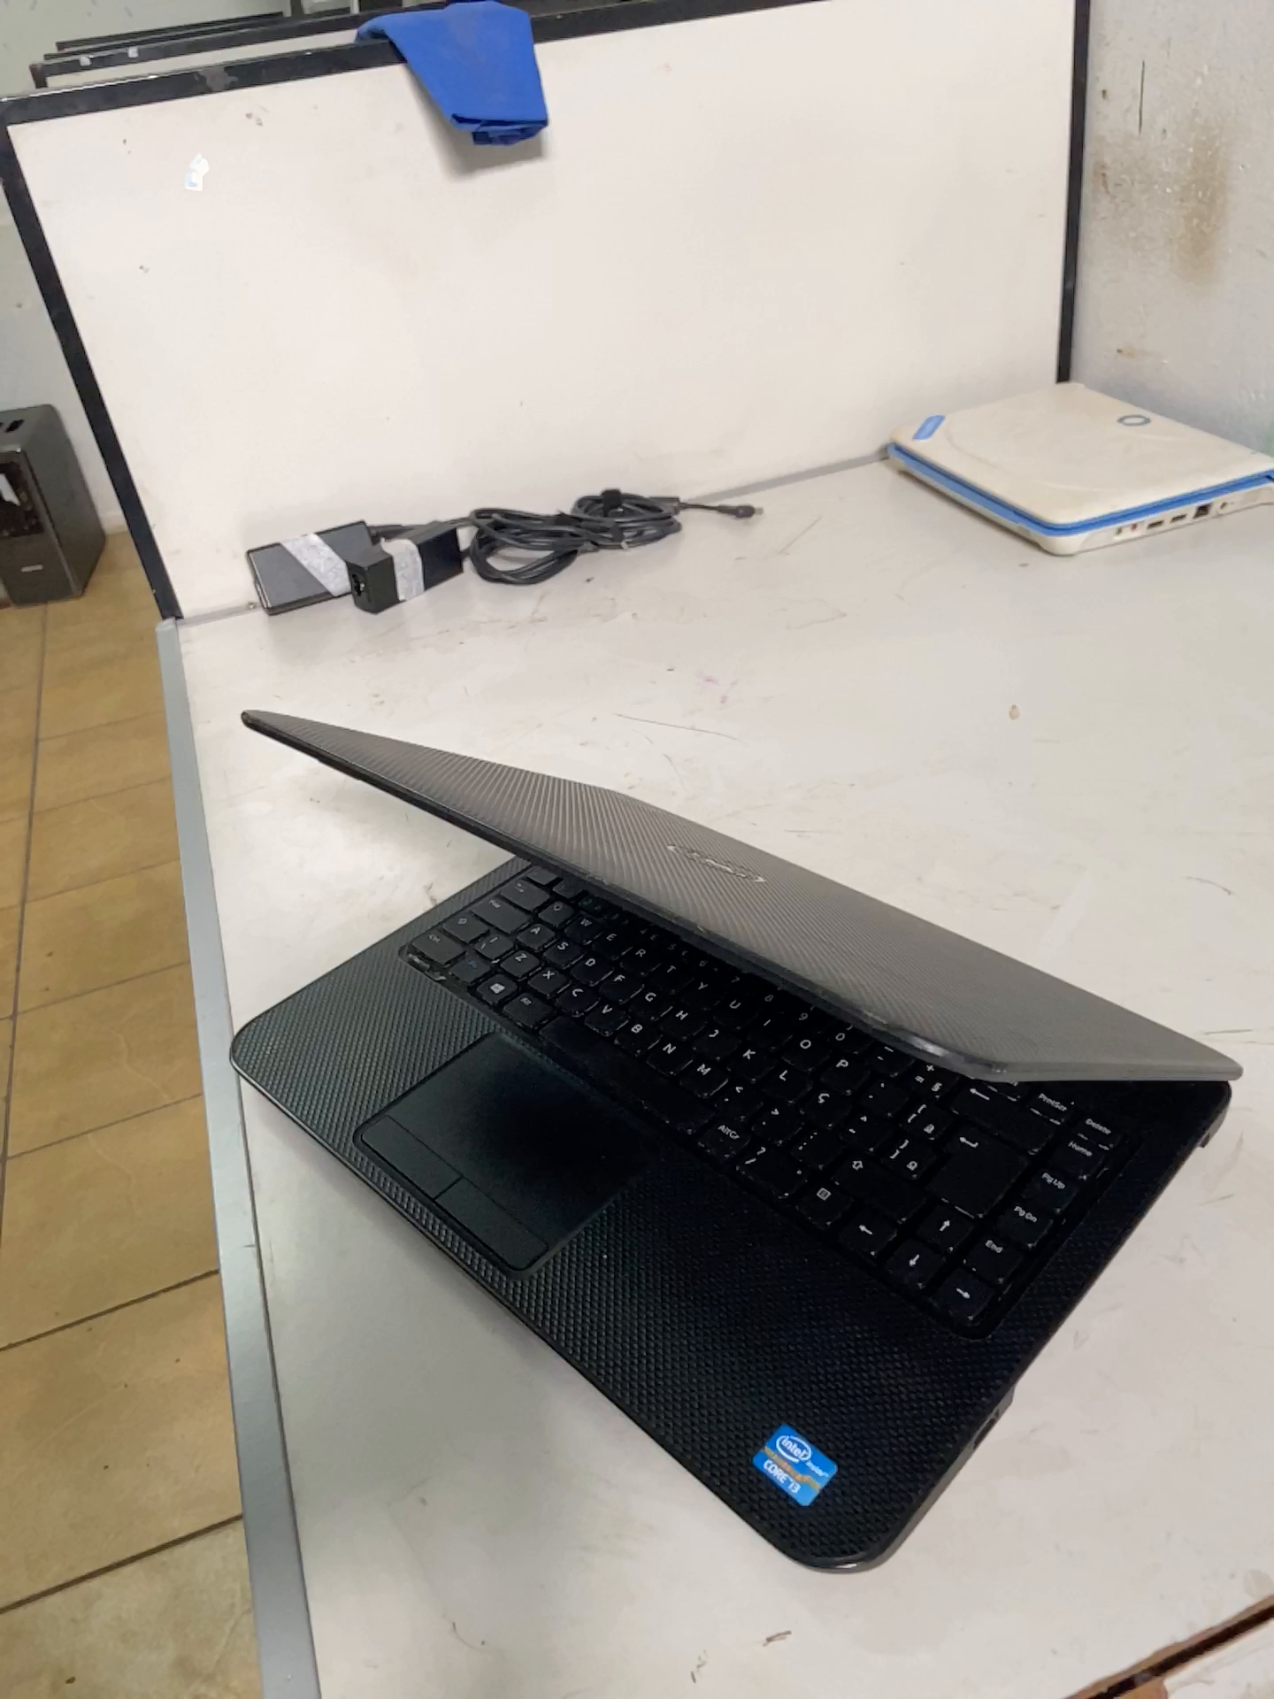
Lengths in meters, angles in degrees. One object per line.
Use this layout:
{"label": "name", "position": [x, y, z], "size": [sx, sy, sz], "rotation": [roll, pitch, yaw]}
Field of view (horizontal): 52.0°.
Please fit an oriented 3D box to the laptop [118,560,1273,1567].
{"label": "laptop", "position": [0.012, 0.030, 0.485], "size": [0.331, 0.141, 0.230], "rotation": [25, 46, 39]}
